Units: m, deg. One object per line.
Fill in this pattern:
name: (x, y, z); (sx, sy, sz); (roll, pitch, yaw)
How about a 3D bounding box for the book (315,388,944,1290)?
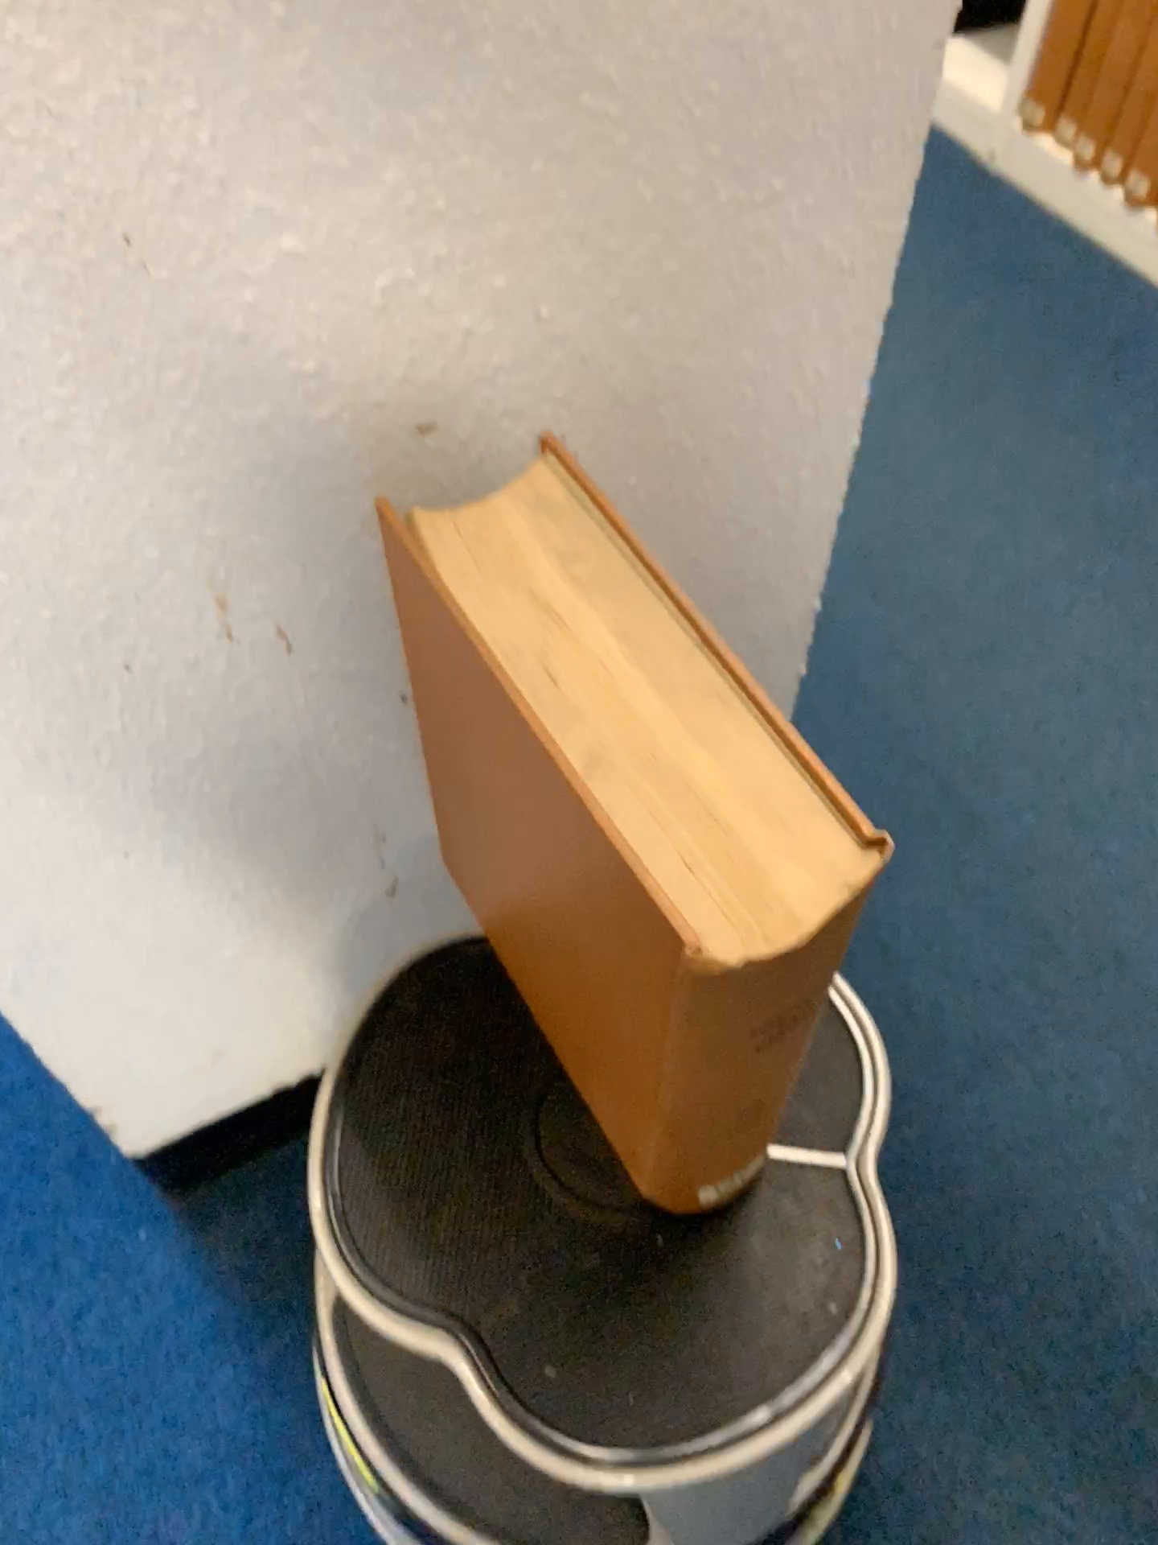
book: (0.004, 0.053, 0.507); (0.090, 0.337, 0.221); (-26, 58, -18)
